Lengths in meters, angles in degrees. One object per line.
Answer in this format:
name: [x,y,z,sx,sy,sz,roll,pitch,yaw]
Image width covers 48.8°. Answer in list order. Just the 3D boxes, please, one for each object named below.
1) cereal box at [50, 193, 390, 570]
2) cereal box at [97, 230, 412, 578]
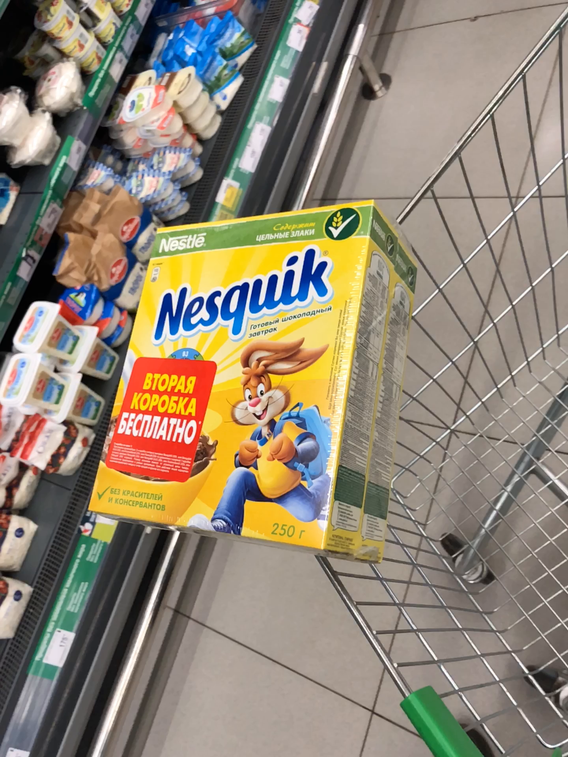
cereal box: [-0.046,-0.004,0.456,0.211,0.050,0.240,1,72,30]
cereal box: [-0.023,0.012,0.492,0.211,0.050,0.240,1,72,30]
